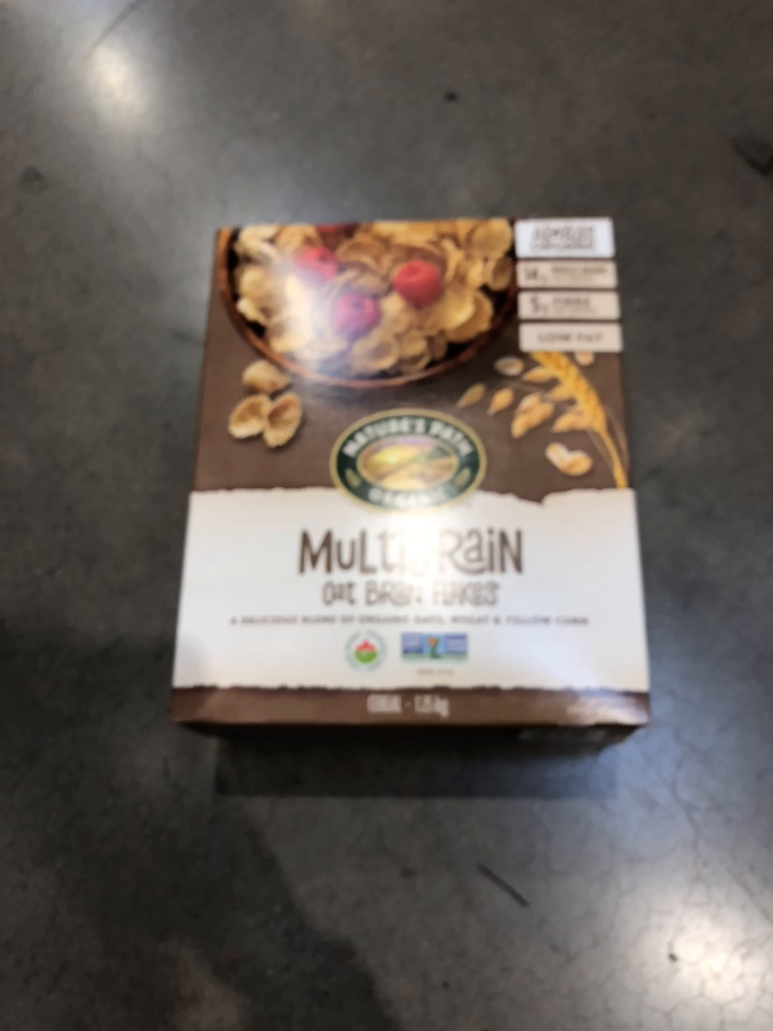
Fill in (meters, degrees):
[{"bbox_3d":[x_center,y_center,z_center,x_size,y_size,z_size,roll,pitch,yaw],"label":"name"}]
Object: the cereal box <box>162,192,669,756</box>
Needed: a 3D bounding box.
[{"bbox_3d":[0.019,-0.025,0.518,0.240,0.110,0.310,0,70,4],"label":"cereal box"}]
